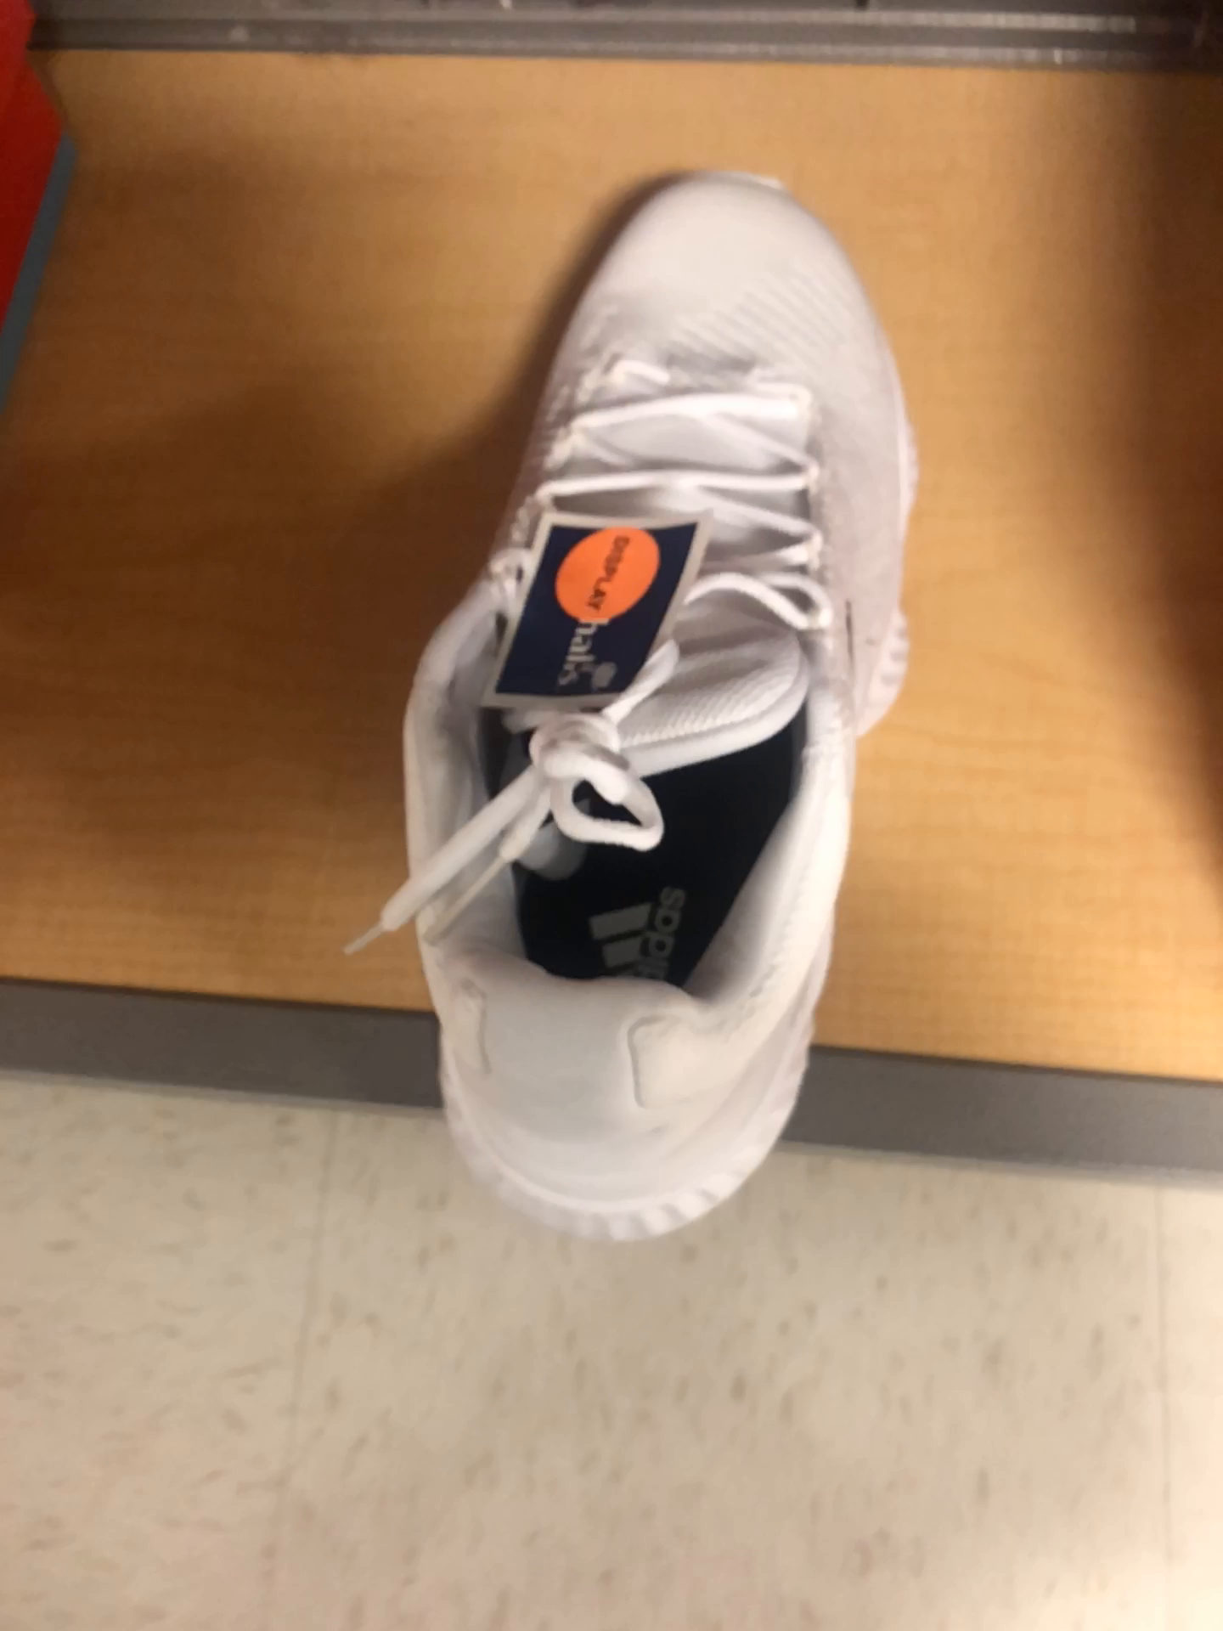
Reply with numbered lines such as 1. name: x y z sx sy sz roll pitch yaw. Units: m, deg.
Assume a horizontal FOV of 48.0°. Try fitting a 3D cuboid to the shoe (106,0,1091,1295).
1. shoe: 0.017 -0.073 0.333 0.120 0.150 0.336 10 73 7
